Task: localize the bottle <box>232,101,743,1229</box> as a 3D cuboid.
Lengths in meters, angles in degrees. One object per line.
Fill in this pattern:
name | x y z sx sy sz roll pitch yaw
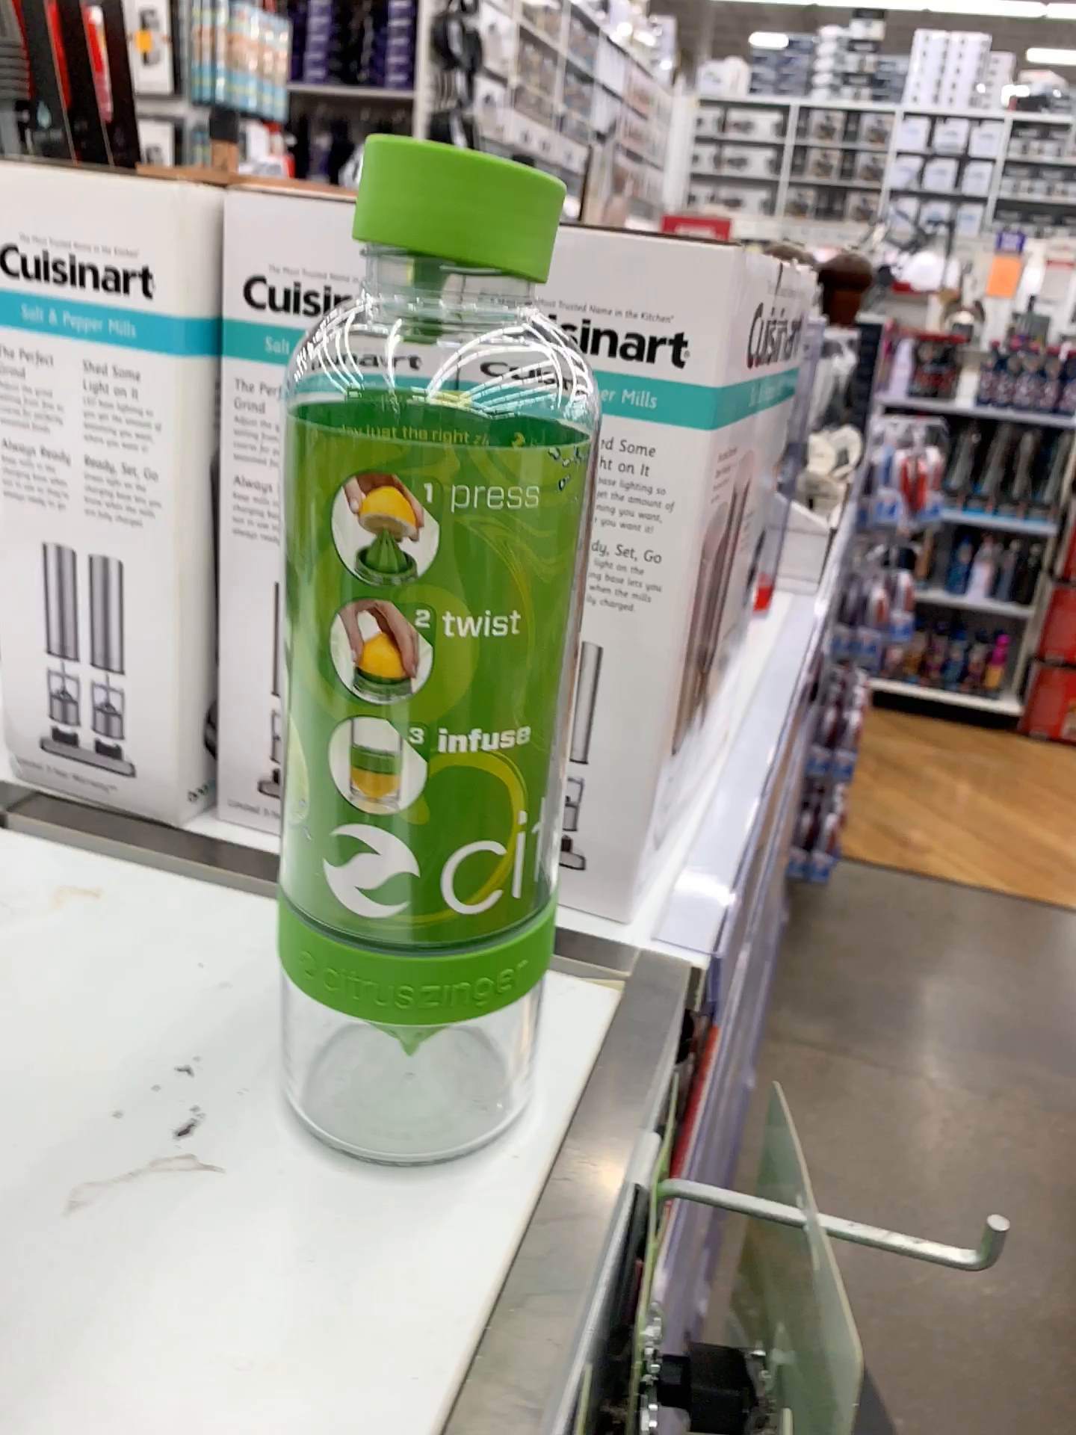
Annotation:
bottle | -0.024 -0.009 0.286 0.078 0.250 0.081 5 21 -2
